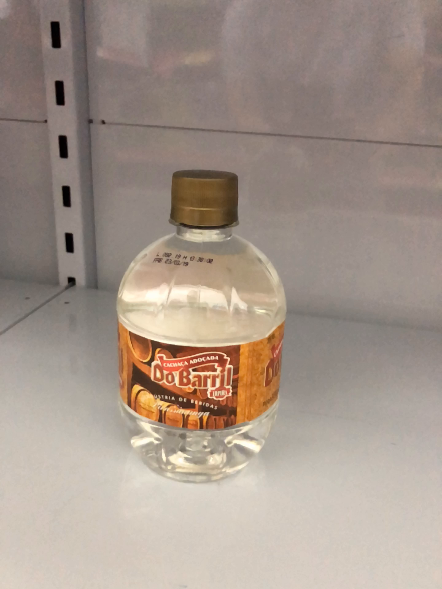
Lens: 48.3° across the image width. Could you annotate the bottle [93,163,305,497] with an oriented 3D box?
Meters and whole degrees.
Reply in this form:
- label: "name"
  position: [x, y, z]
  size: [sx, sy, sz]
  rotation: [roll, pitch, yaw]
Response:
- label: "bottle"
  position: [-0.009, 0.012, 0.246]
  size: [0.080, 0.139, 0.081]
  rotation: [2, 21, -1]
